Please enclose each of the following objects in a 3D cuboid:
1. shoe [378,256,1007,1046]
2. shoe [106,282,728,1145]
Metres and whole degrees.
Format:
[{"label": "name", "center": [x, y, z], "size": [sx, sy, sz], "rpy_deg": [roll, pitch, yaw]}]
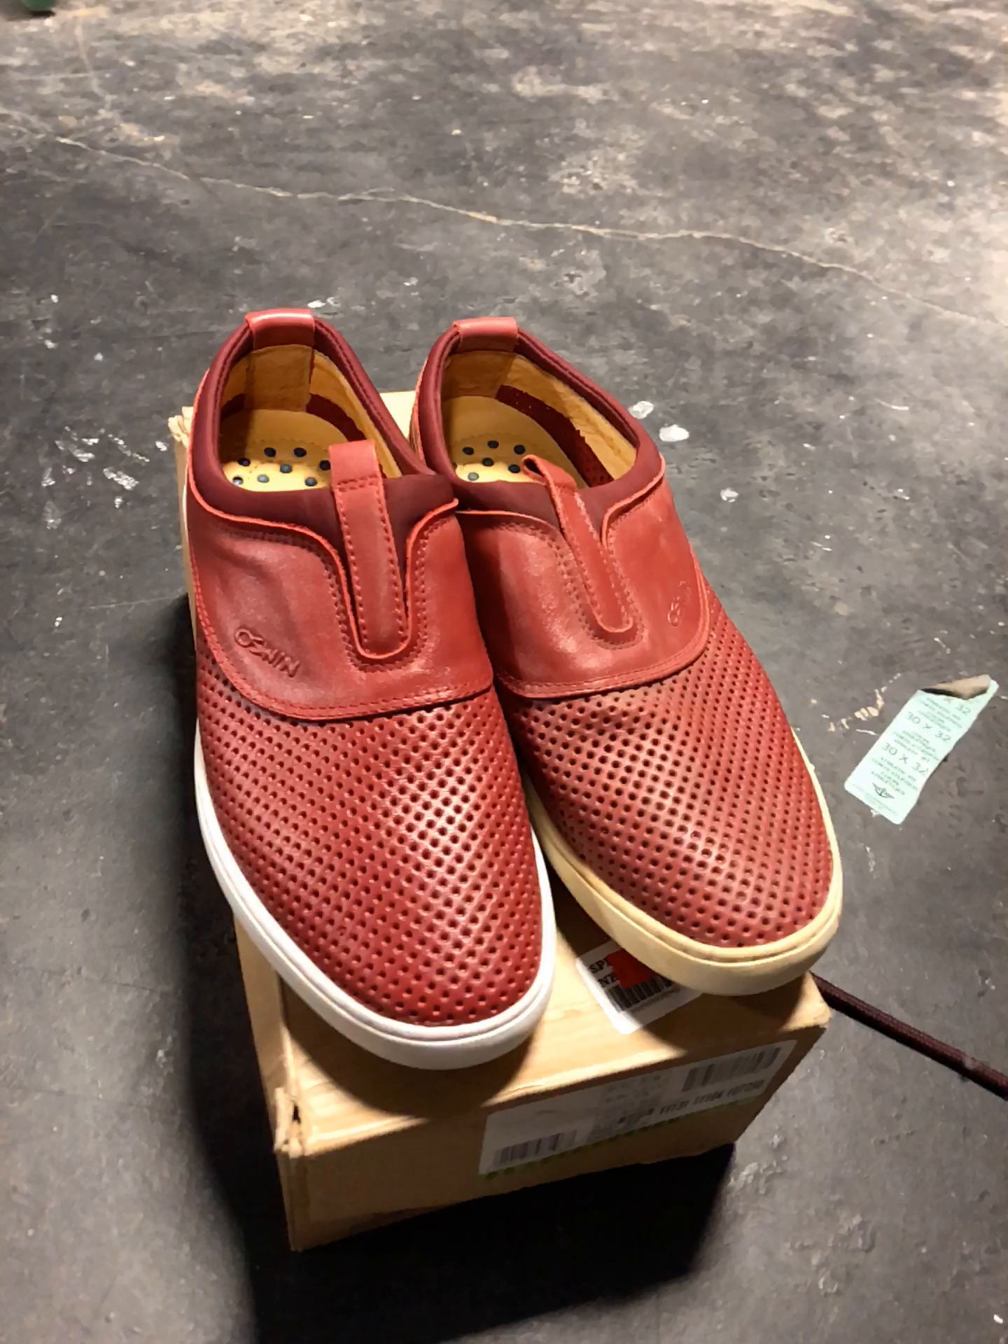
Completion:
[{"label": "shoe", "center": [0.044, -0.021, 0.366], "size": [0.100, 0.109, 0.231], "rpy_deg": [-12, 53, -20]}, {"label": "shoe", "center": [-0.045, -0.003, 0.341], "size": [0.100, 0.109, 0.231], "rpy_deg": [-12, 53, -20]}]
